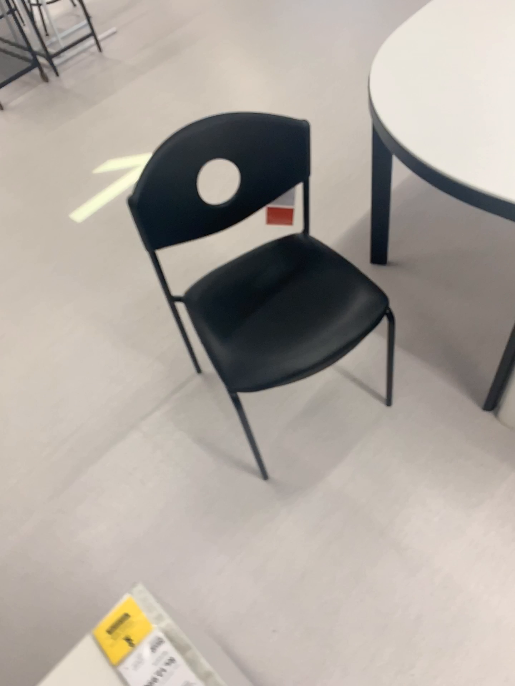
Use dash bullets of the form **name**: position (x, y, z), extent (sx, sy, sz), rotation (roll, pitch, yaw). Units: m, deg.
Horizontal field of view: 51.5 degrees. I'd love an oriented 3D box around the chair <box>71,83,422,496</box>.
- **chair**: position (-0.004, -0.113, 1.385), extent (0.510, 0.737, 0.582), rotation (-30, 53, -12)
